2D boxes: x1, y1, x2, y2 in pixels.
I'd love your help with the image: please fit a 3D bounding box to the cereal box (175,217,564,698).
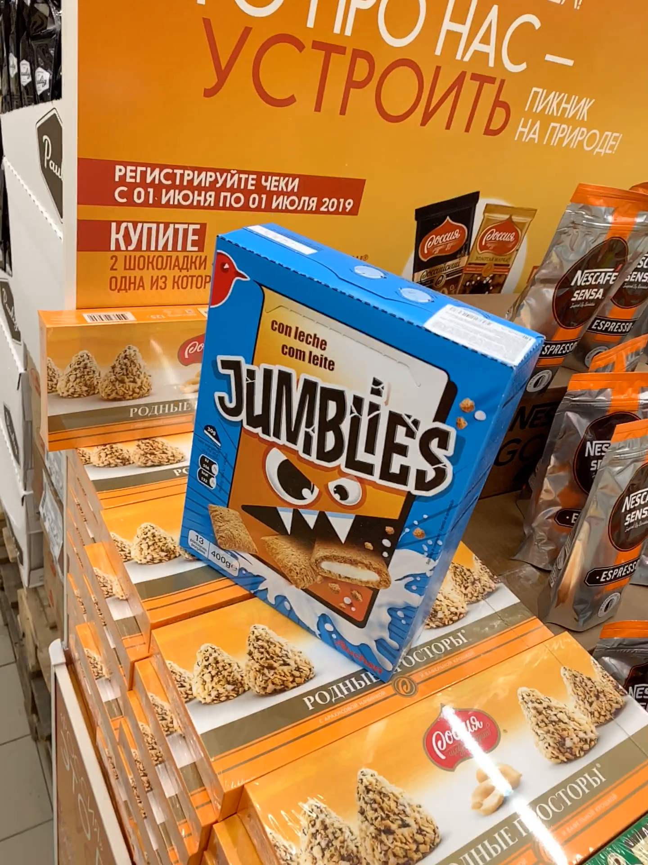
[{"bbox_3d":[0.007,0.020,0.446,0.200,0.258,0.060,28,35,21],"label":"cereal box"}]
